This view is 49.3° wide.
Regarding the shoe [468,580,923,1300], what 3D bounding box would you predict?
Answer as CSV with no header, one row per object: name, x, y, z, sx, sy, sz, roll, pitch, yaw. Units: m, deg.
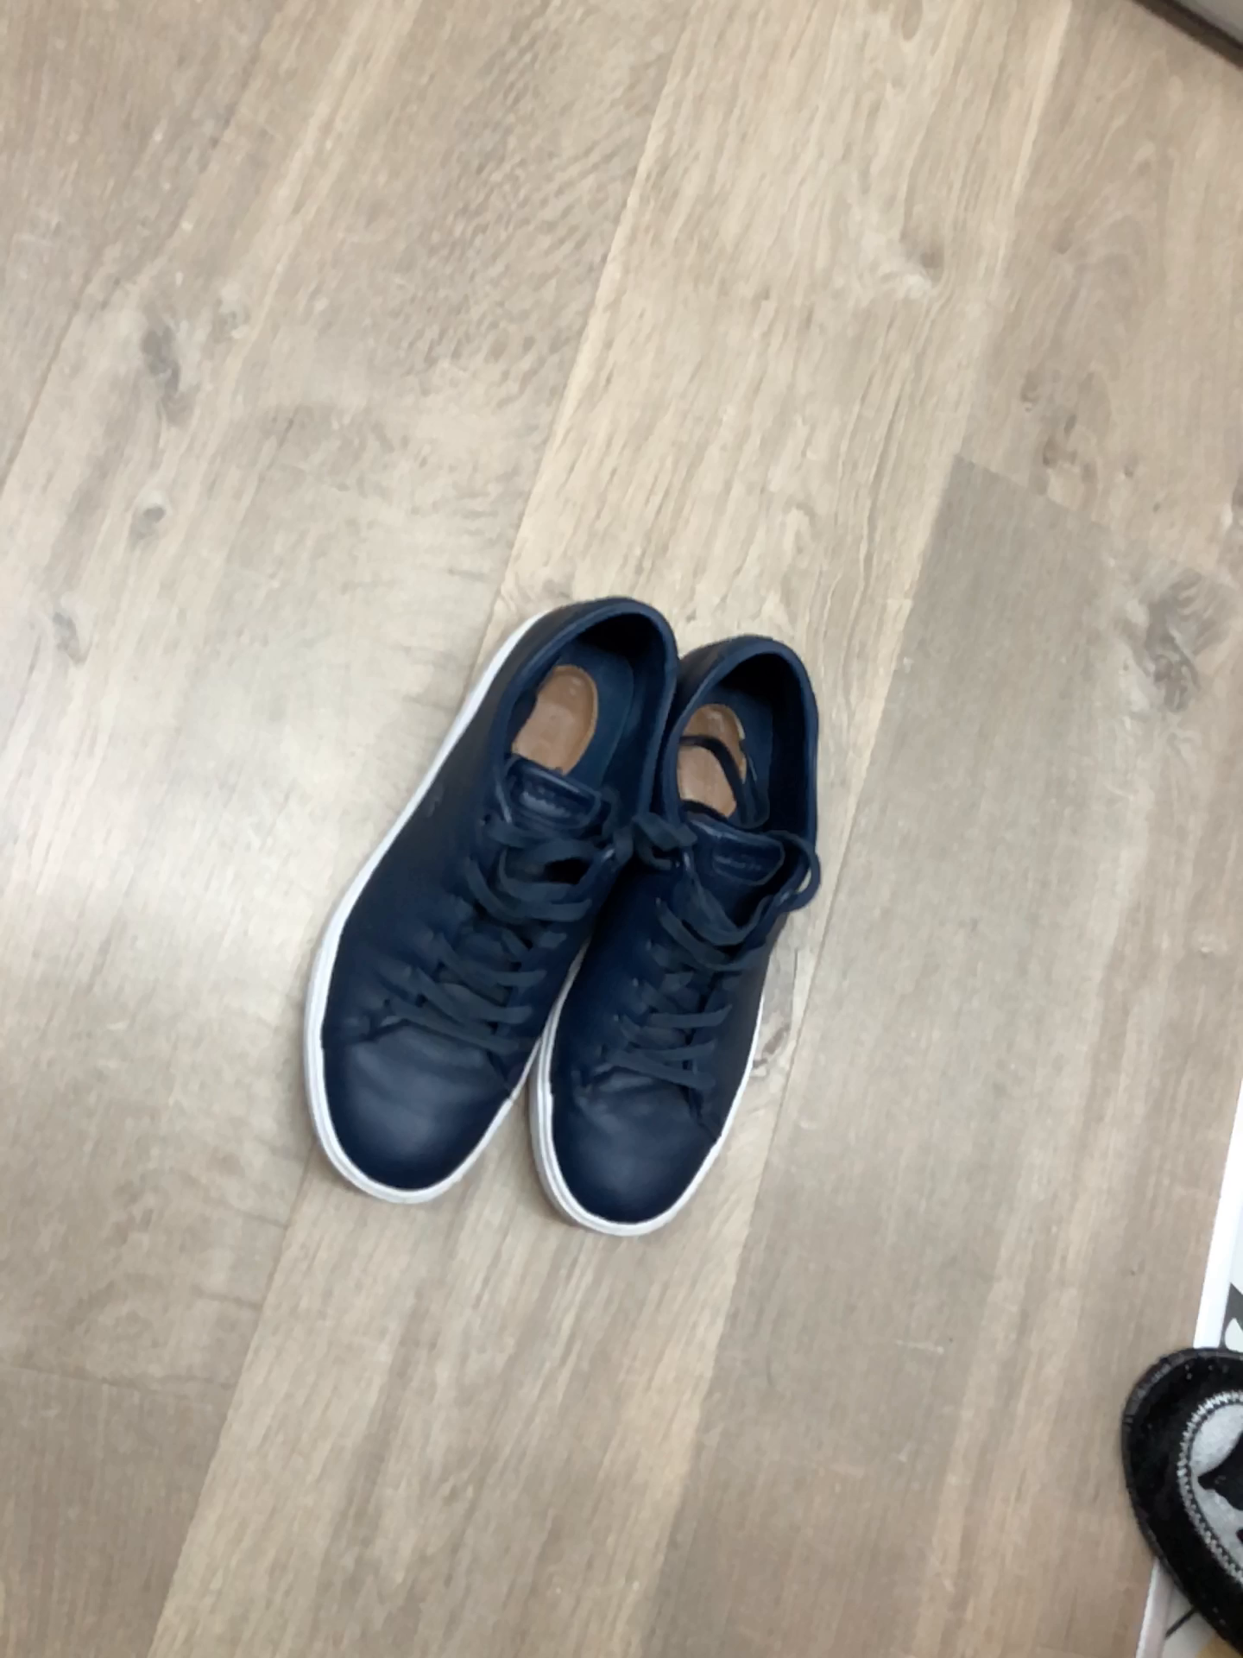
shoe,0.030,0.042,0.538,0.100,0.080,0.247,19,78,-17

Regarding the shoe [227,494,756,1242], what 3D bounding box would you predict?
shoe,-0.049,0.014,0.519,0.100,0.080,0.247,25,77,-16
